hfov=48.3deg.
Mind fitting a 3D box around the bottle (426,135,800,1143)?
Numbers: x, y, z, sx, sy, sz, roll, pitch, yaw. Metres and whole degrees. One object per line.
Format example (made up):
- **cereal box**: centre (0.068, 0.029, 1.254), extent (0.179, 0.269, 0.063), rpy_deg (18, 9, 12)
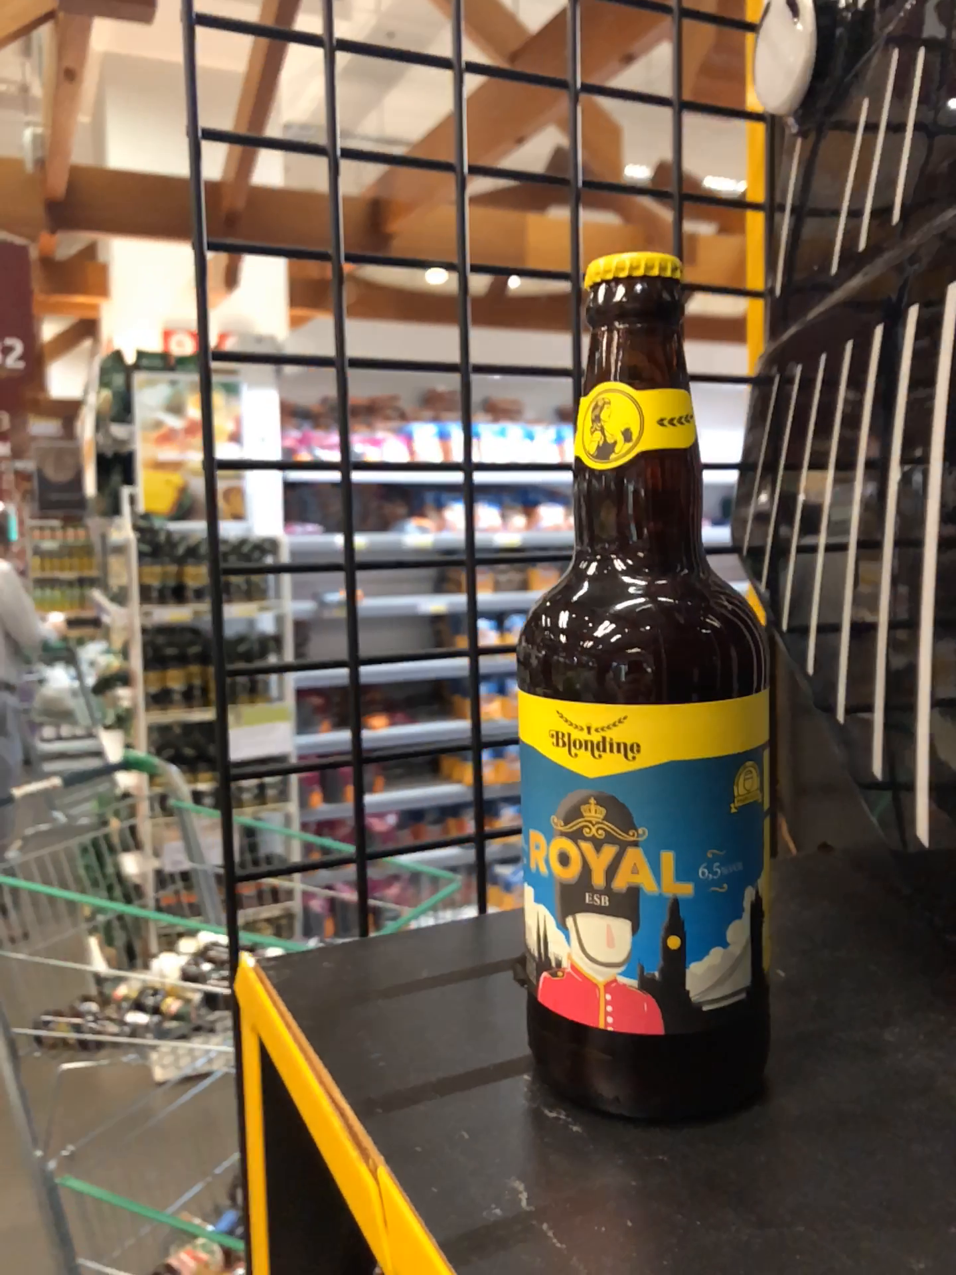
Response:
- **bottle**: centre (0.040, 0.000, 0.302), extent (0.080, 0.239, 0.070), rpy_deg (3, 7, 31)
